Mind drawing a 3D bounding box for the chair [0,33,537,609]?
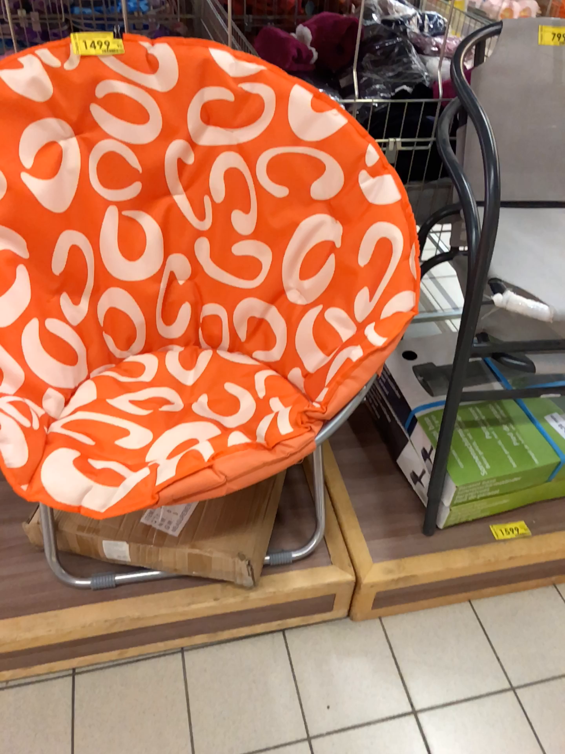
[{"bbox_3d":[-0.175,-0.150,1.033,0.734,0.605,0.715,-4,41,-9],"label":"chair"}]
